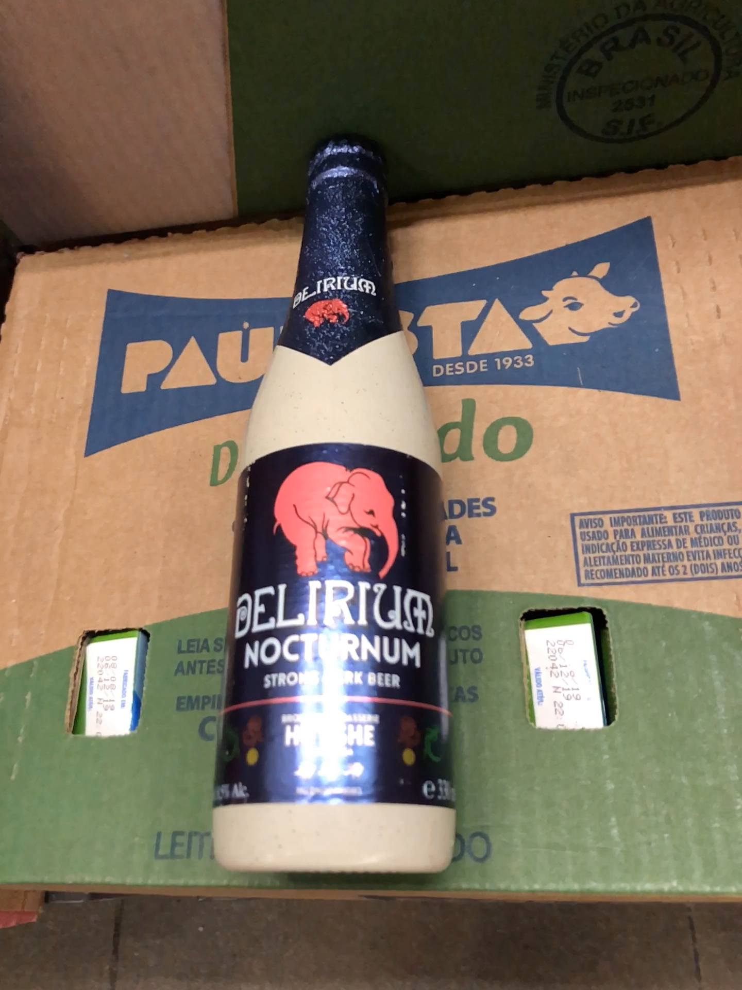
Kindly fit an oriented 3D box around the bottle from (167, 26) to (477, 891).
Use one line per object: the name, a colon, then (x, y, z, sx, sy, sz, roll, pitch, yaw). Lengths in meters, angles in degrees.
bottle: (-0.007, -0.025, 0.239, 0.060, 0.050, 0.251, -4, 65, 10)
